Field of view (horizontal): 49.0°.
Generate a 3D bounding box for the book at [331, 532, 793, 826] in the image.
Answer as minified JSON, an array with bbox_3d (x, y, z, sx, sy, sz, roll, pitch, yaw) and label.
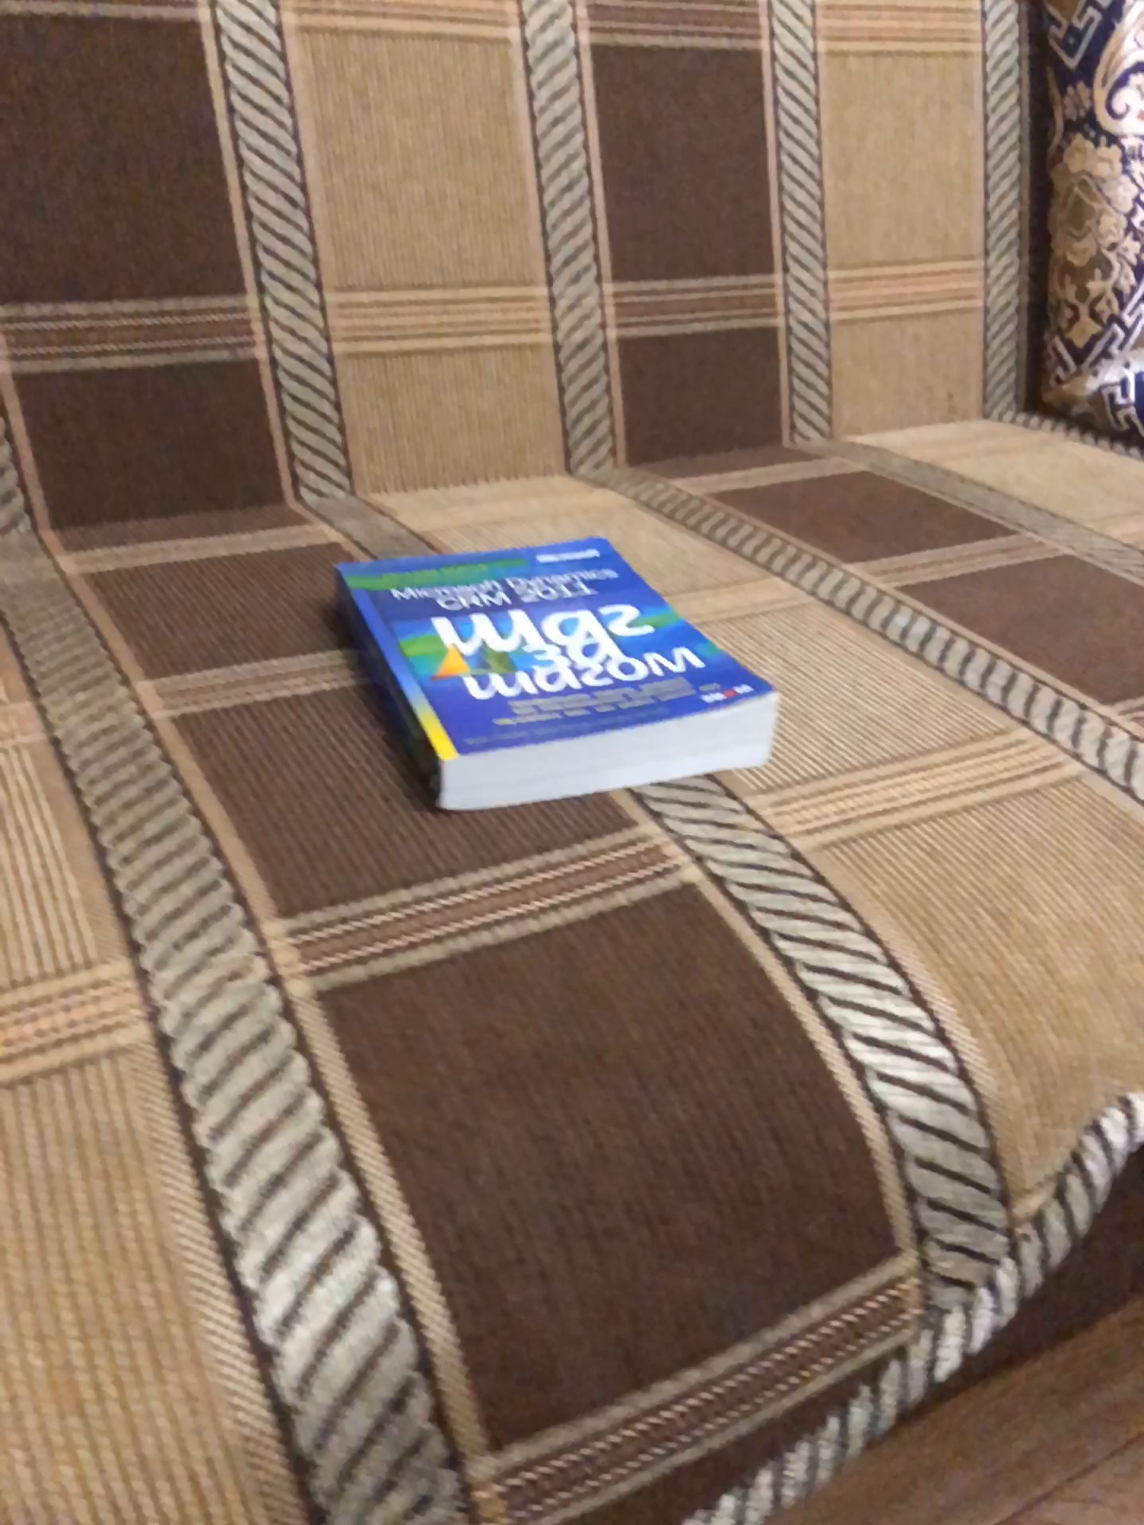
[{"bbox_3d":[-0.016,-0.050,0.580,0.150,0.033,0.201,-9,32,-19],"label":"book"}]
